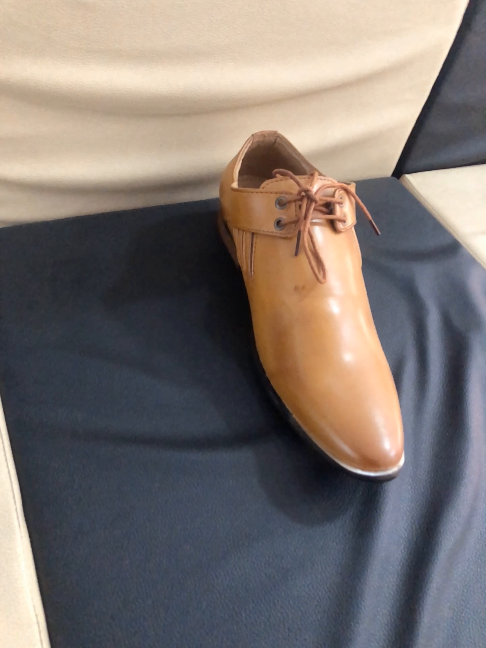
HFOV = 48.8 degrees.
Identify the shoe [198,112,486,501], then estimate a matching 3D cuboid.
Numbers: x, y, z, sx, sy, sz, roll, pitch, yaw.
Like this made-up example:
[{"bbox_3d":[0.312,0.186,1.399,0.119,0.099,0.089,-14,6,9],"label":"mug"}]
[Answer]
[{"bbox_3d":[0.056,-0.035,0.367,0.110,0.080,0.271,-5,51,-18],"label":"shoe"}]
